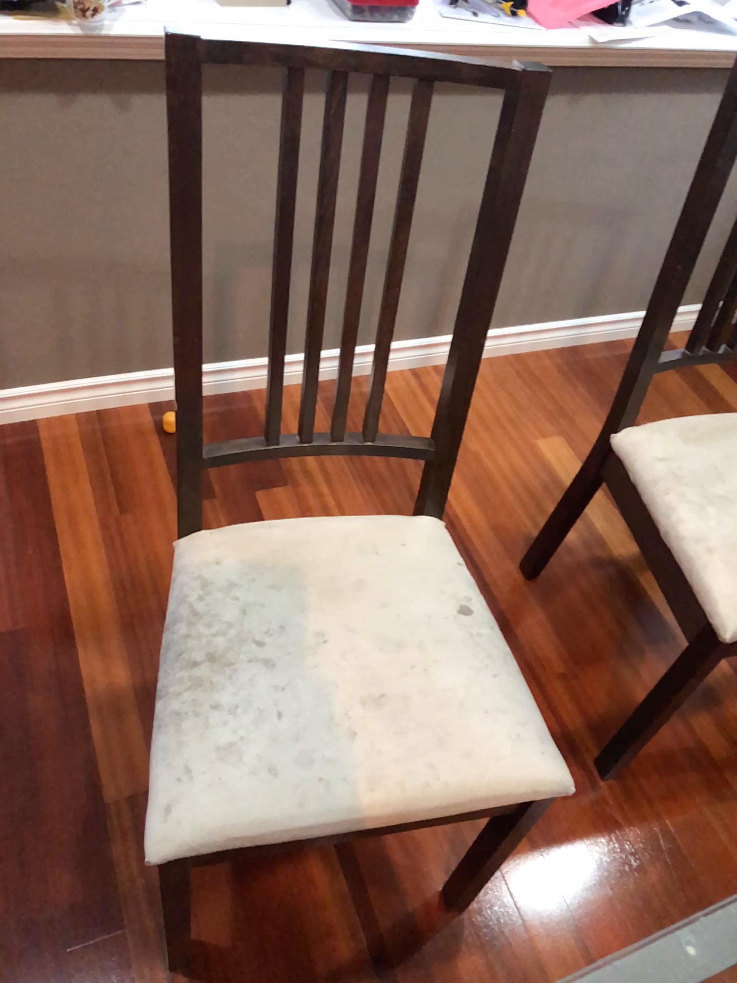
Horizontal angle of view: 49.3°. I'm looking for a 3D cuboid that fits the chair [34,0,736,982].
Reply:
[{"bbox_3d":[0.019,0.084,0.893,0.590,0.994,0.543,-5,49,-17],"label":"chair"}]
